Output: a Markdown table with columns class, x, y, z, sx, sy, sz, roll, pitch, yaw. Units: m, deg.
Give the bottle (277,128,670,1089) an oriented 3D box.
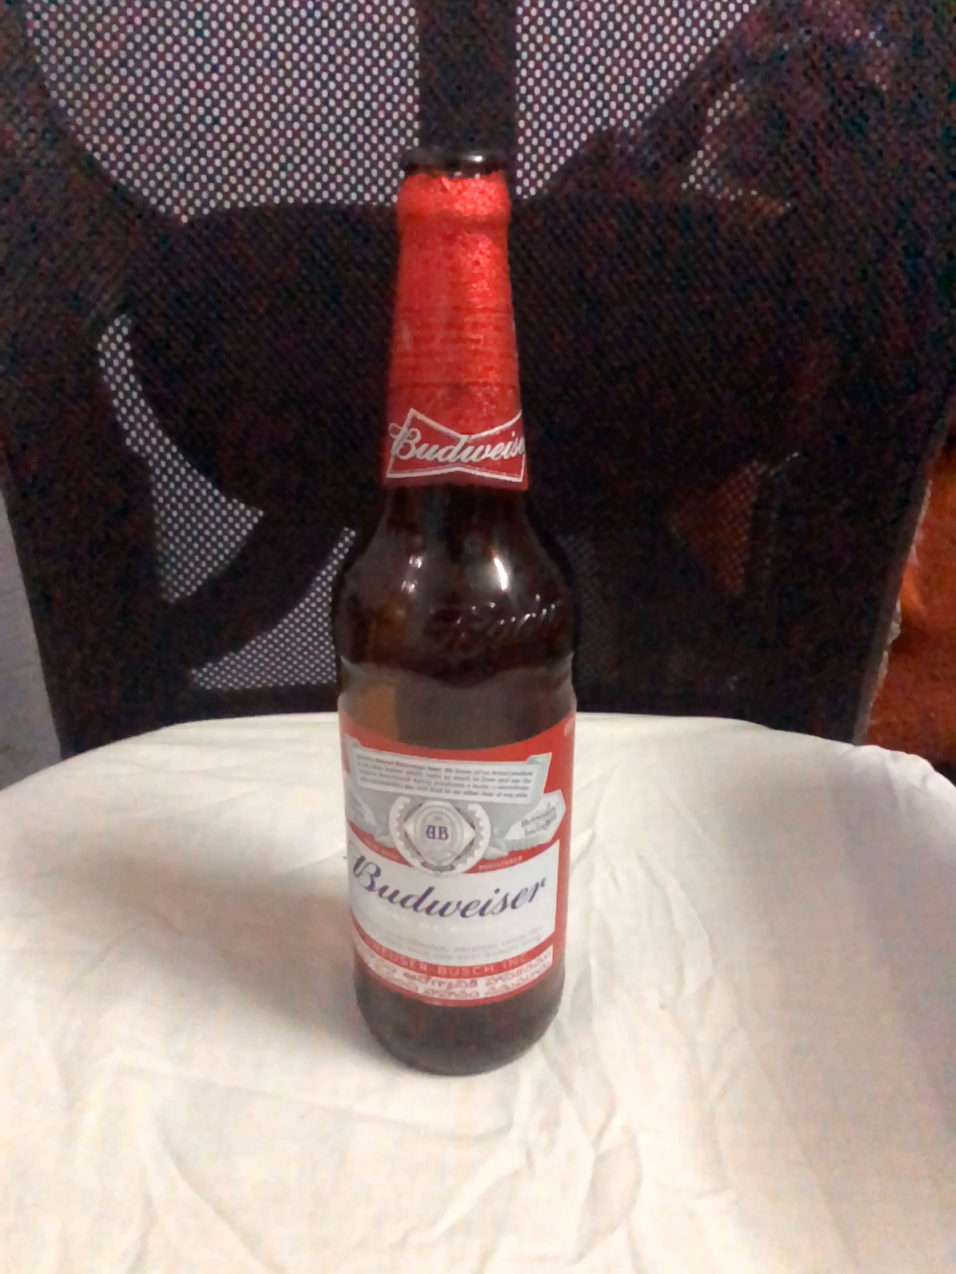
| class | x | y | z | sx | sy | sz | roll | pitch | yaw |
| --- | --- | --- | --- | --- | --- | --- | --- | --- | --- |
| bottle | -0.005 | 0.008 | 0.312 | 0.080 | 0.278 | 0.070 | 3 | 29 | 1 |
